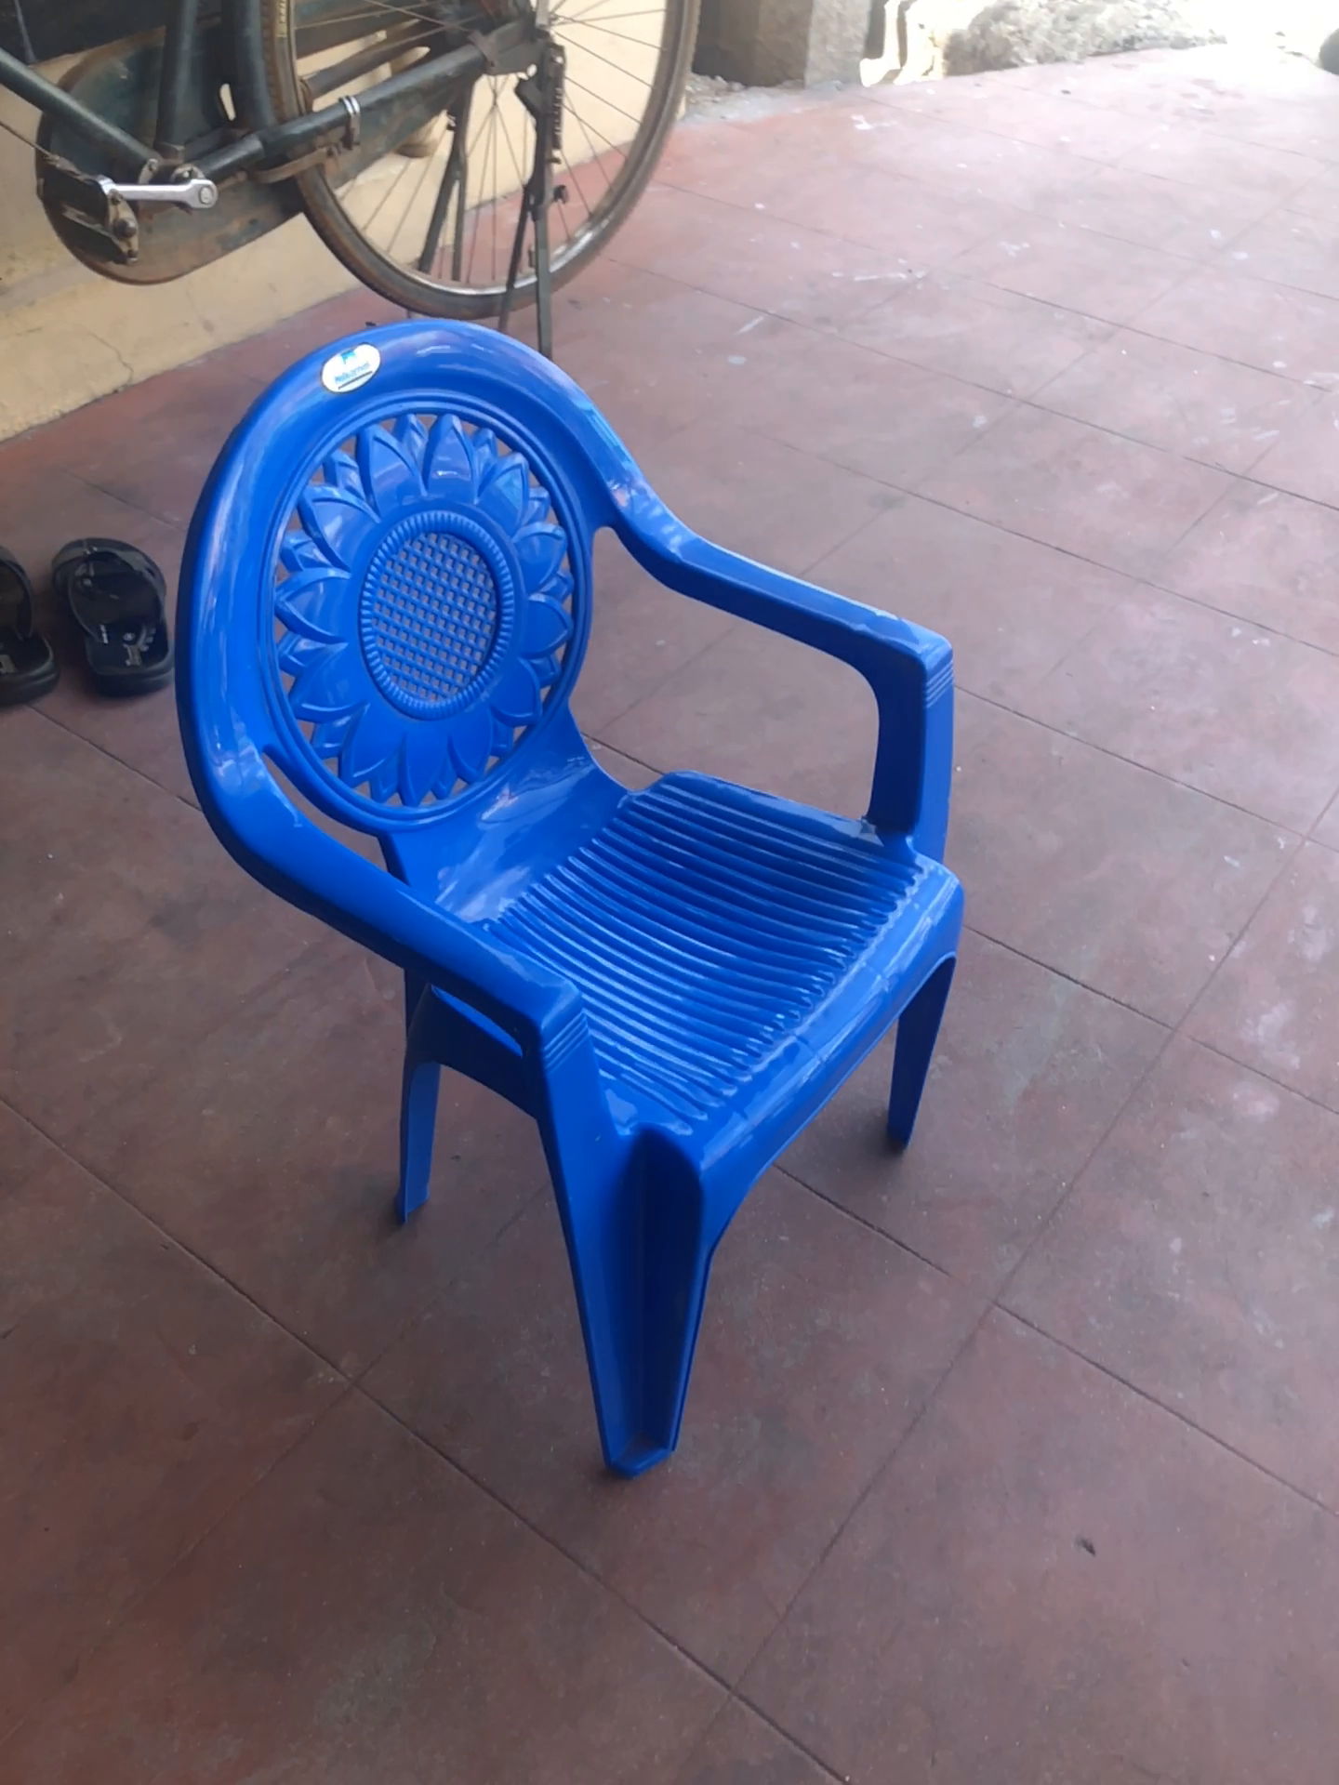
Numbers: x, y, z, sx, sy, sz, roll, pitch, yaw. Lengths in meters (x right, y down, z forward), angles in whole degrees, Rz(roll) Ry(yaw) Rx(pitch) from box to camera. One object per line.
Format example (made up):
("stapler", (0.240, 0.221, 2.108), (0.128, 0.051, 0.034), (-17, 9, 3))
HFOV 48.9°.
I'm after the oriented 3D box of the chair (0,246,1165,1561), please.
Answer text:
("chair", (-0.066, -0.008, 0.868), (0.450, 0.498, 0.402), (30, 52, 25))
